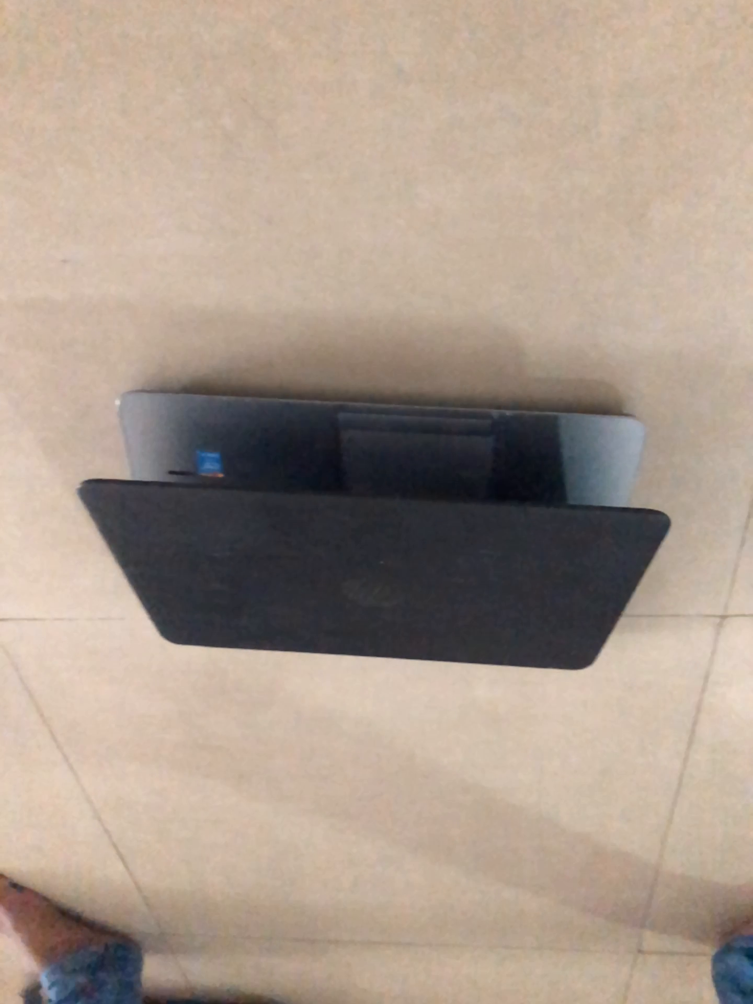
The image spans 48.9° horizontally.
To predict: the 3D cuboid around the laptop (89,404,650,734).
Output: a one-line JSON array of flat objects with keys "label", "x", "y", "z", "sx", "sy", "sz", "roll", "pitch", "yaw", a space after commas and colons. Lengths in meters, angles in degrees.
[{"label": "laptop", "x": -0.003, "y": 0.051, "z": 0.553, "sx": 0.304, "sy": 0.085, "sz": 0.215, "roll": 3, "pitch": 132, "yaw": 3}]
